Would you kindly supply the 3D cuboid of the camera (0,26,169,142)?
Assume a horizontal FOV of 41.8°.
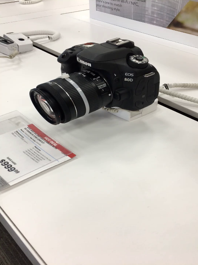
[{"bbox_3d":[-0.023,-0.080,0.381,0.150,0.094,0.147,-28,49,-28],"label":"camera"}]
